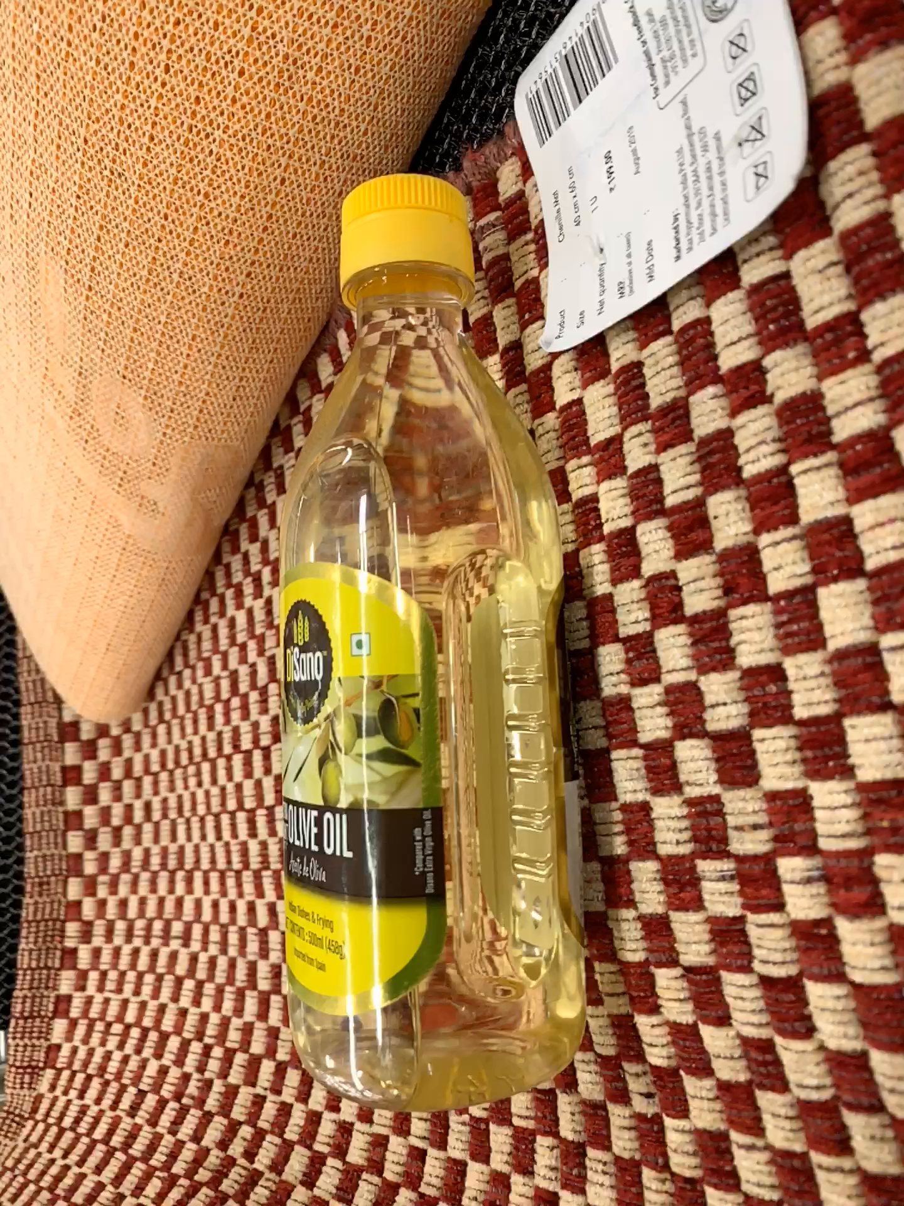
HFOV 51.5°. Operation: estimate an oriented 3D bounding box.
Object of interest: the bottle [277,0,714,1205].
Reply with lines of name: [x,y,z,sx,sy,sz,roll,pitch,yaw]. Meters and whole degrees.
bottle: [0.005,-0.006,0.218,0.070,0.060,0.230,-10,82,56]
